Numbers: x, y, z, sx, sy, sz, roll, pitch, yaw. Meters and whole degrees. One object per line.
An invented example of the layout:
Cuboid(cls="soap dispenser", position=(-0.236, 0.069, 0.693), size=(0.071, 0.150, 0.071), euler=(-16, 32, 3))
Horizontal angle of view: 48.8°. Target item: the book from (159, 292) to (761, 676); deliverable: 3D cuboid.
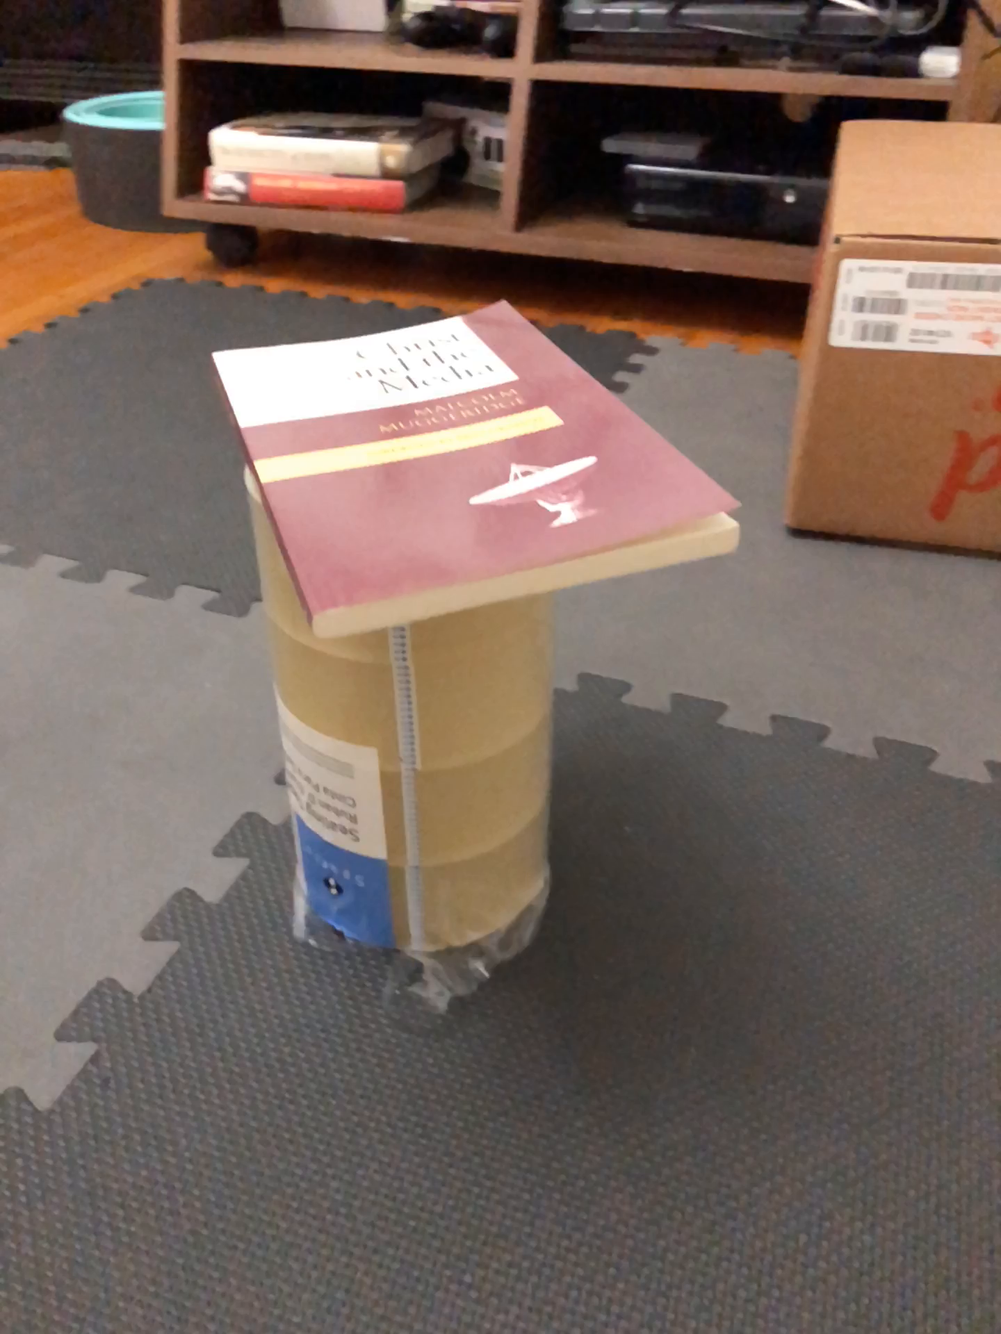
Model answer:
Cuboid(cls="book", position=(-0.030, -0.079, 0.376), size=(0.140, 0.020, 0.211), euler=(-13, 38, -17))
